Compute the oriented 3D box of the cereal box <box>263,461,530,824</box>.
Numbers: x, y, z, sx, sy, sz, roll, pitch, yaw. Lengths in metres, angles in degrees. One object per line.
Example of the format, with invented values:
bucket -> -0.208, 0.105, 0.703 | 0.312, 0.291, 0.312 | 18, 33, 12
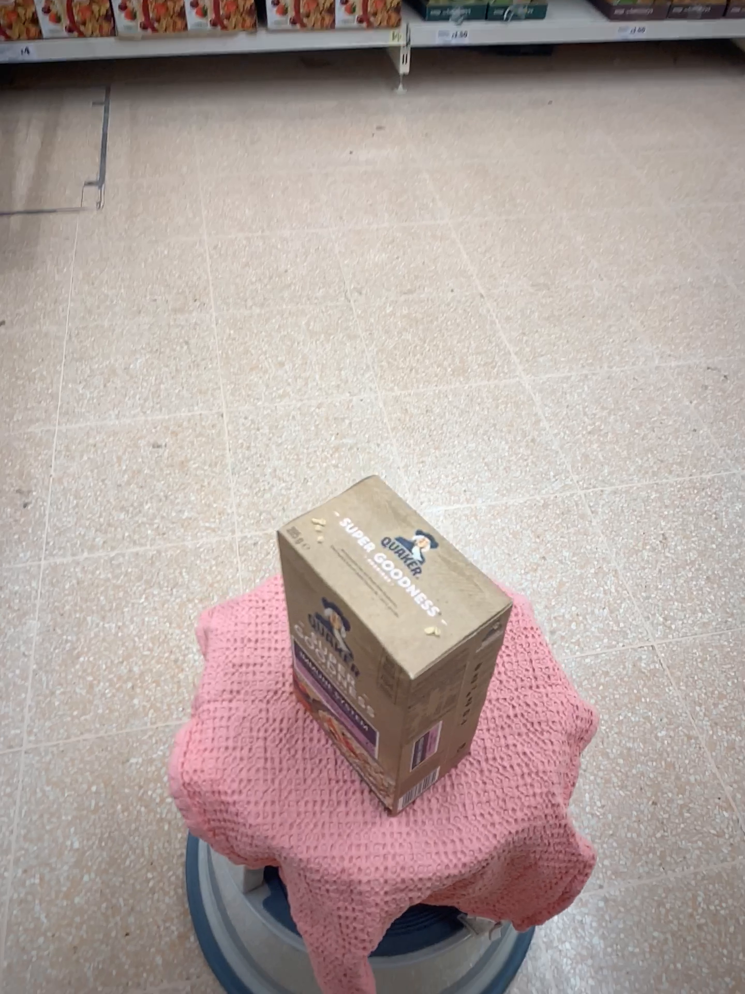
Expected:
cereal box -> 0.009, 0.105, 0.512 | 0.090, 0.208, 0.131 | -32, 57, -26
